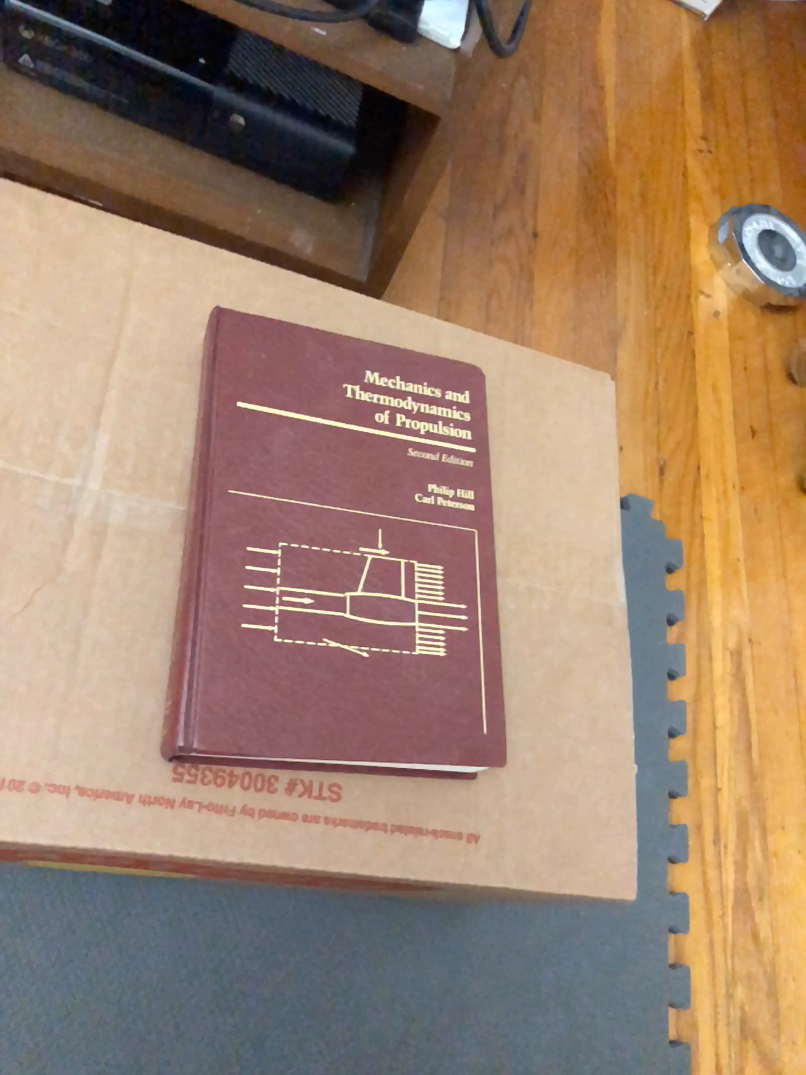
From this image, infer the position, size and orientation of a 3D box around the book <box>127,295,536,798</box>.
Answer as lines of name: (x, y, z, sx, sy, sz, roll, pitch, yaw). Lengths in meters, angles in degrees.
book: (-0.029, 0.006, 0.468, 0.190, 0.040, 0.241, 10, 65, -20)
